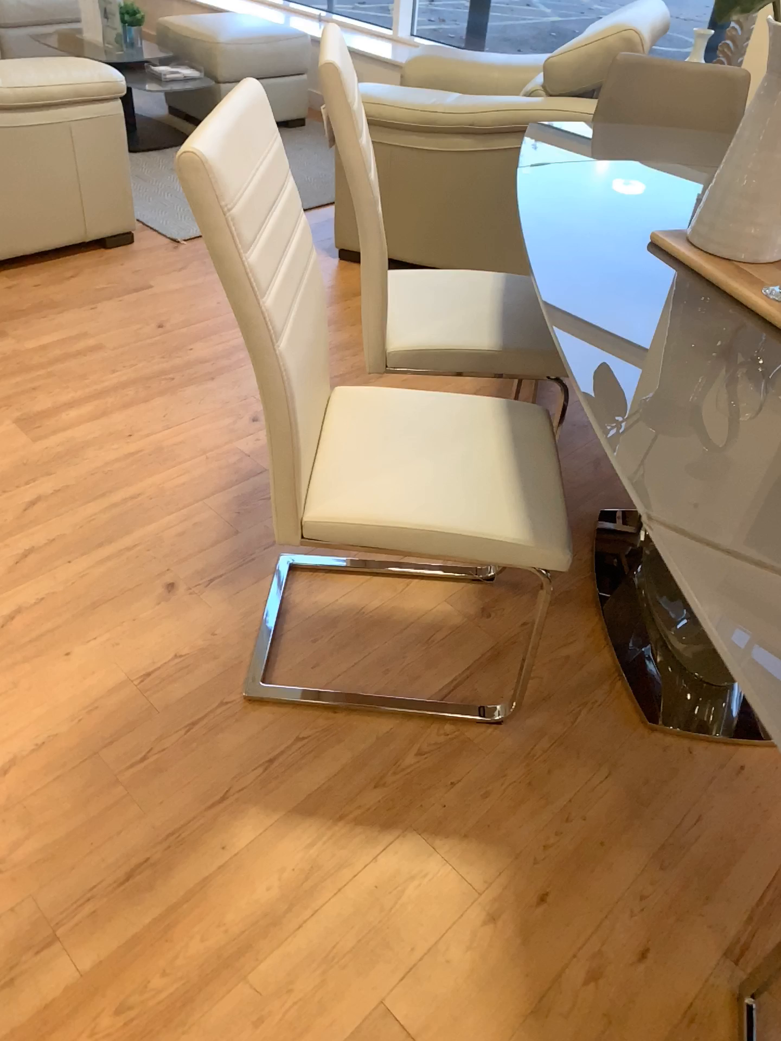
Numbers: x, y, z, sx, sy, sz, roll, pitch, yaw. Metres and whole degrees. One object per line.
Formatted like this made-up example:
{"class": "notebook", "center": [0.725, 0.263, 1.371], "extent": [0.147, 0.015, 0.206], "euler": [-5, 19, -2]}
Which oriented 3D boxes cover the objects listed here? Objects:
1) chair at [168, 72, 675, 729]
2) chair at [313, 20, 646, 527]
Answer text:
{"class": "chair", "center": [0.007, -0.140, 1.290], "extent": [0.535, 0.923, 0.426], "euler": [5, 40, -1]}
{"class": "chair", "center": [0.106, -0.490, 1.731], "extent": [0.525, 0.933, 0.436], "euler": [1, 40, -5]}
